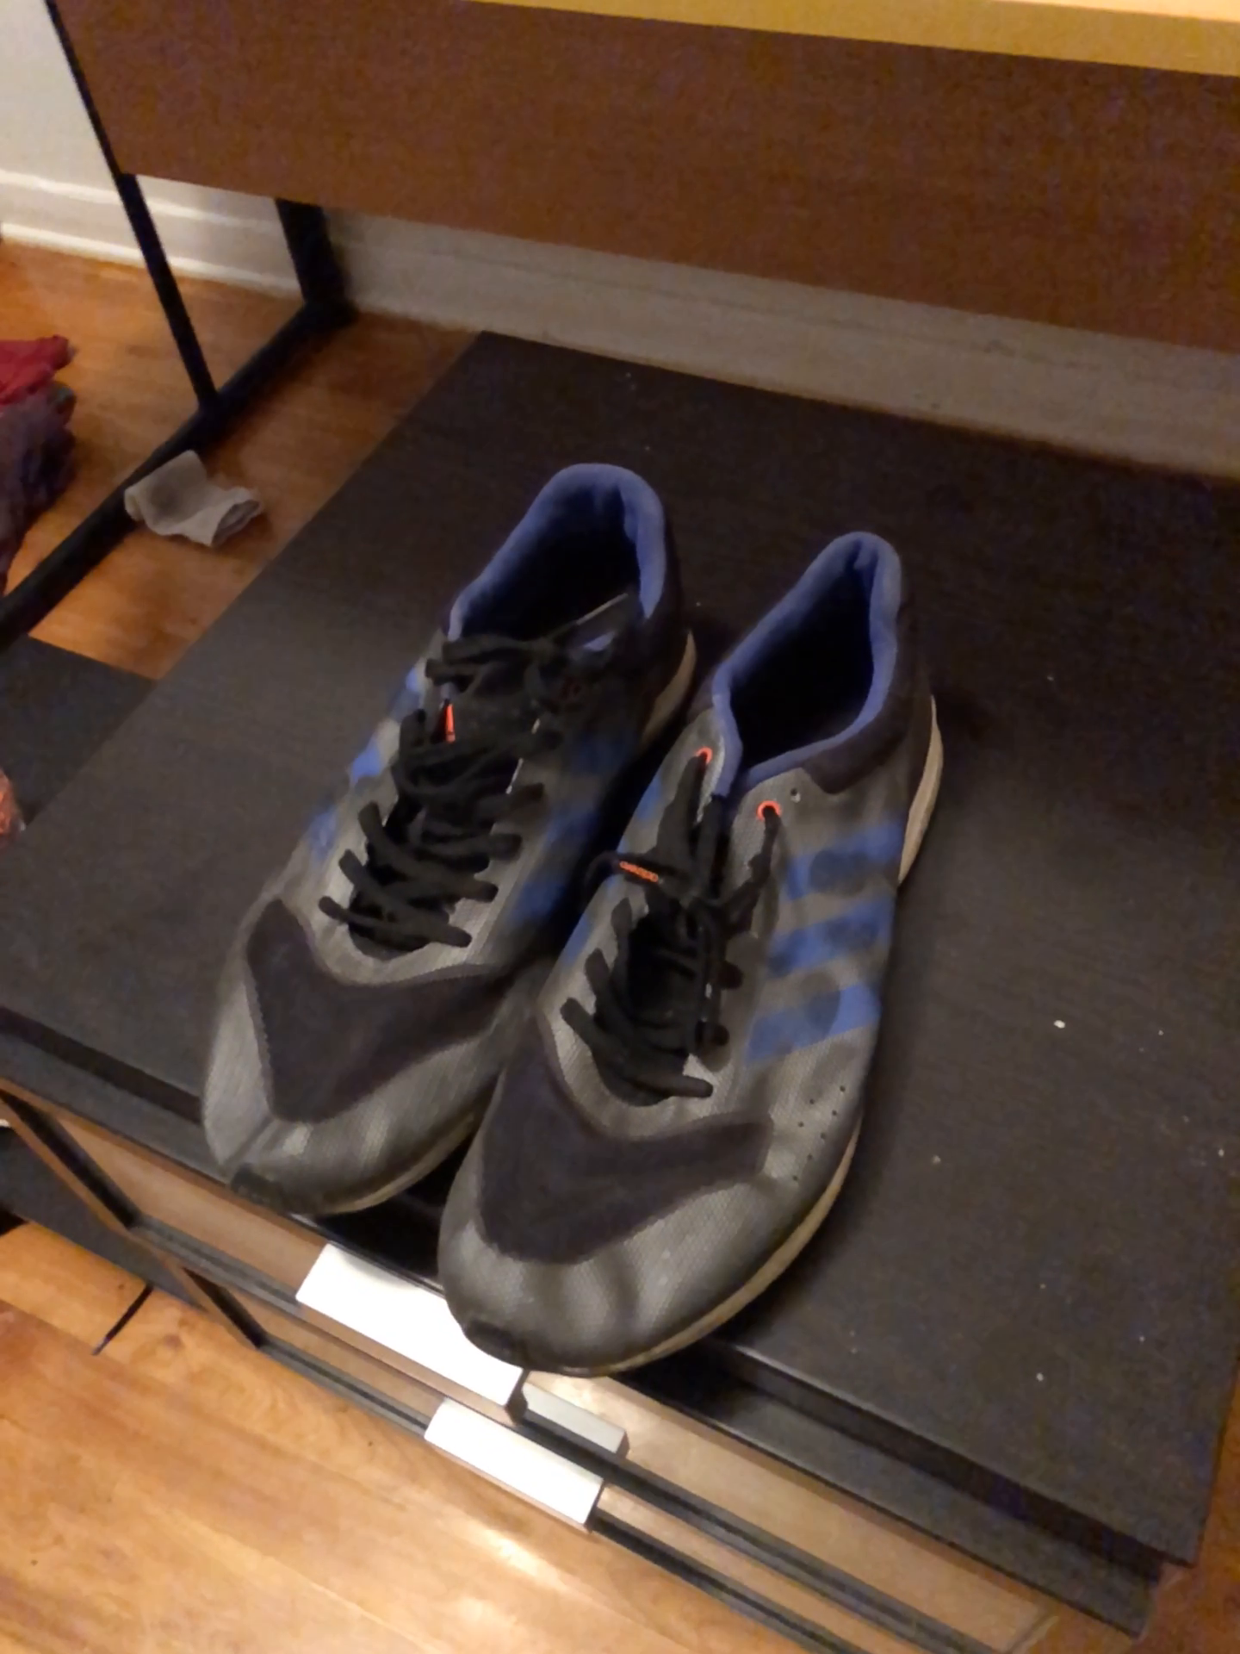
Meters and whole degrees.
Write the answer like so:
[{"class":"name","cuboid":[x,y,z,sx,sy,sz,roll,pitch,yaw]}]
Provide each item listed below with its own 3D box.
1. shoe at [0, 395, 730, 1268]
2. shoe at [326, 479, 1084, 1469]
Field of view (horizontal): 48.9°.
[{"class":"shoe","cuboid":[-0.069,-0.018,0.437,0.110,0.079,0.272,19,56,19]},{"class":"shoe","cuboid":[0.045,0.020,0.427,0.110,0.069,0.302,19,56,19]}]
